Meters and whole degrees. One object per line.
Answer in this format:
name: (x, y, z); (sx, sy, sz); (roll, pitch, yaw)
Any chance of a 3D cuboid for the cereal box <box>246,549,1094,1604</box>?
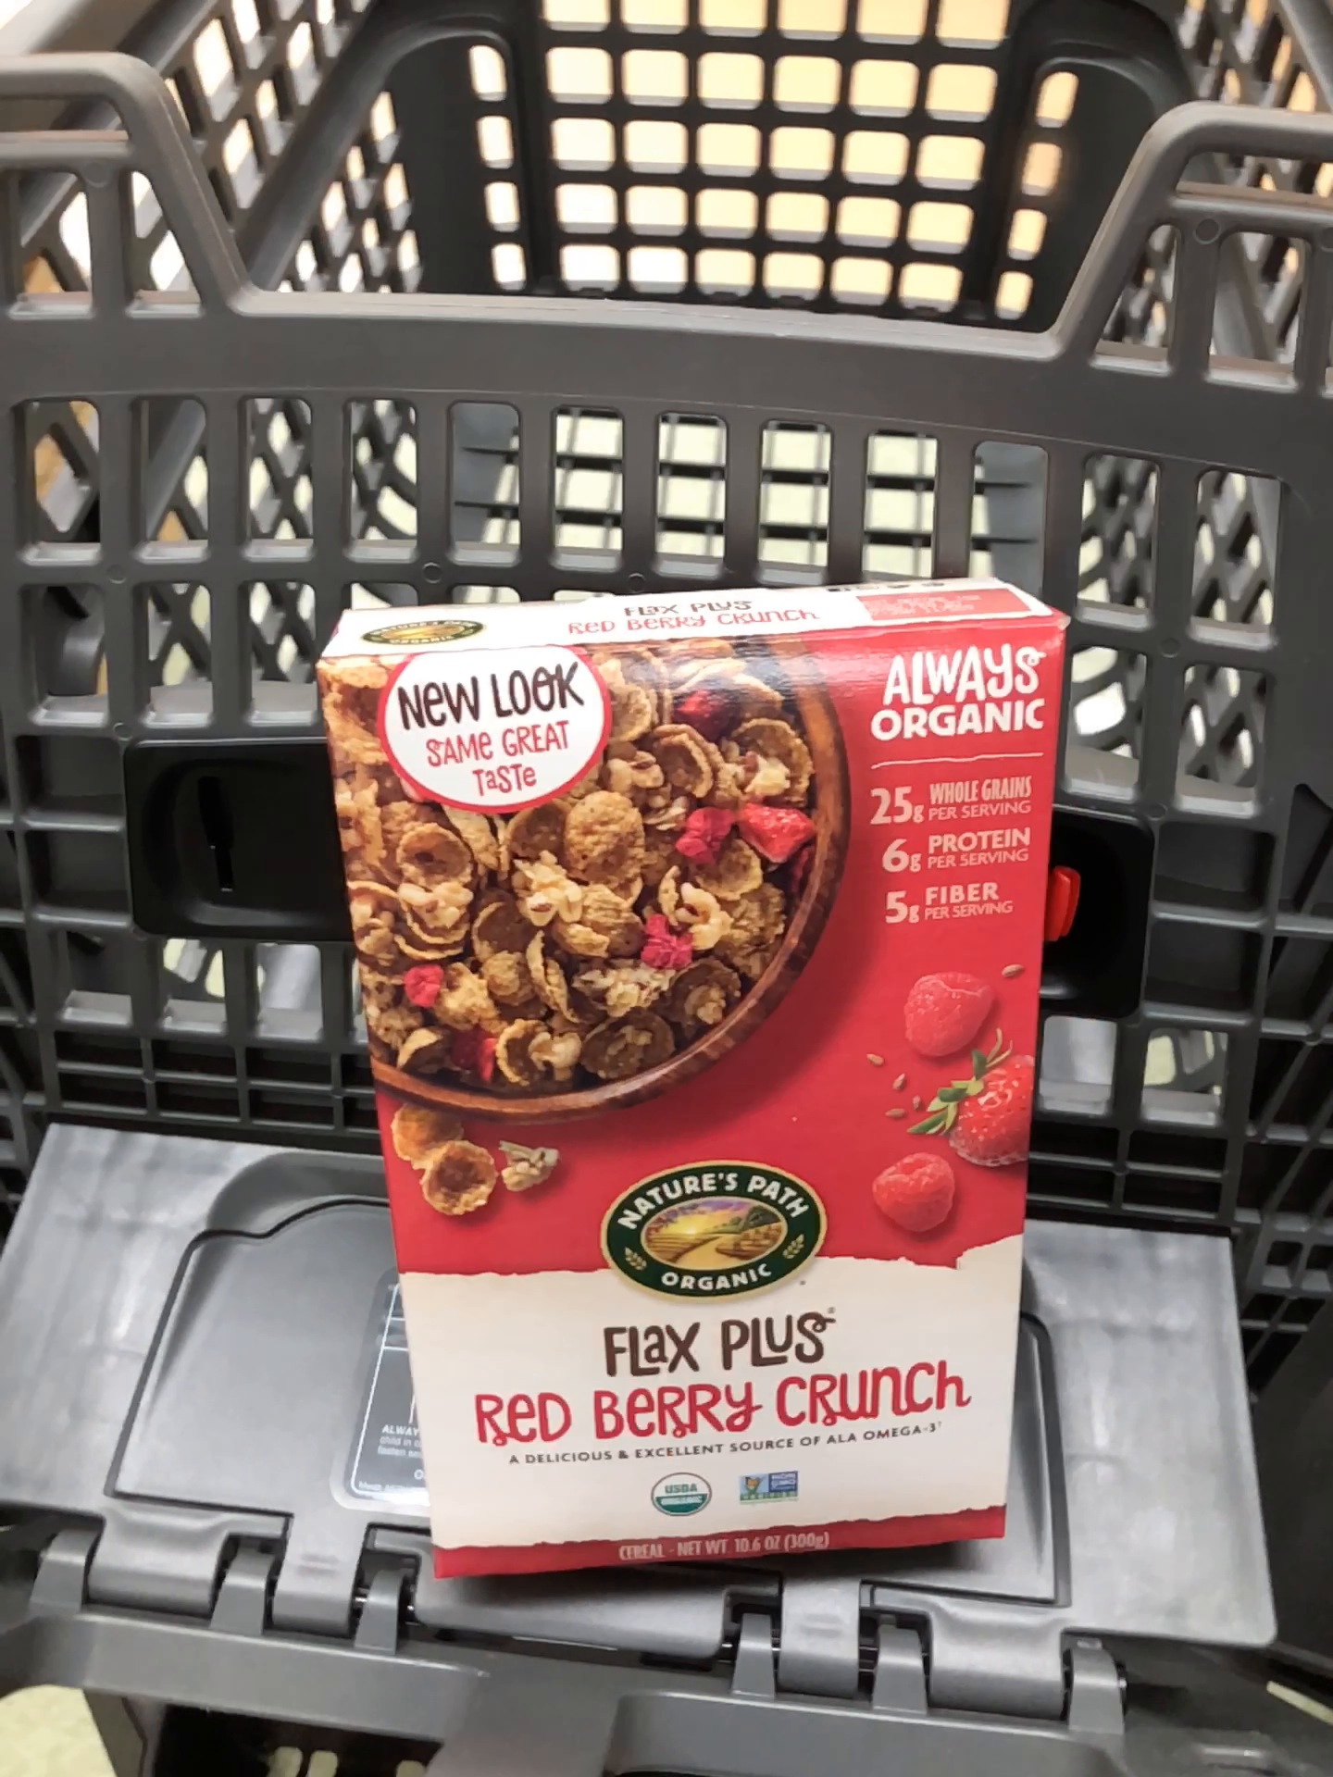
cereal box: (0.006, 0.051, 0.373); (0.170, 0.250, 0.070); (-4, 21, -1)
